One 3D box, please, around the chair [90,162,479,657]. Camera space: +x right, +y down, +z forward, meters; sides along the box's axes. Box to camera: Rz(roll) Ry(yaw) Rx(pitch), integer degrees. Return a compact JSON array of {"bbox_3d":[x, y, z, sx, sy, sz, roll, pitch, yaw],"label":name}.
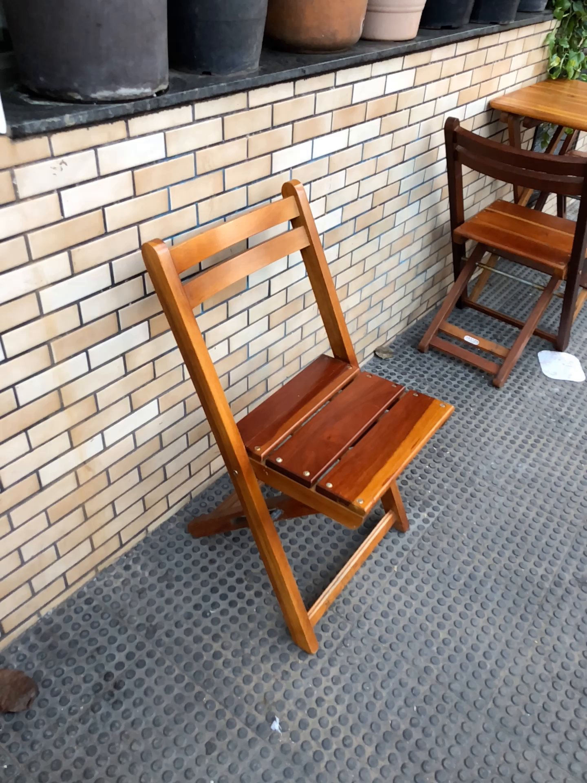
[{"bbox_3d":[-0.020,0.016,1.320,0.491,0.764,0.473,23,39,26],"label":"chair"}]
